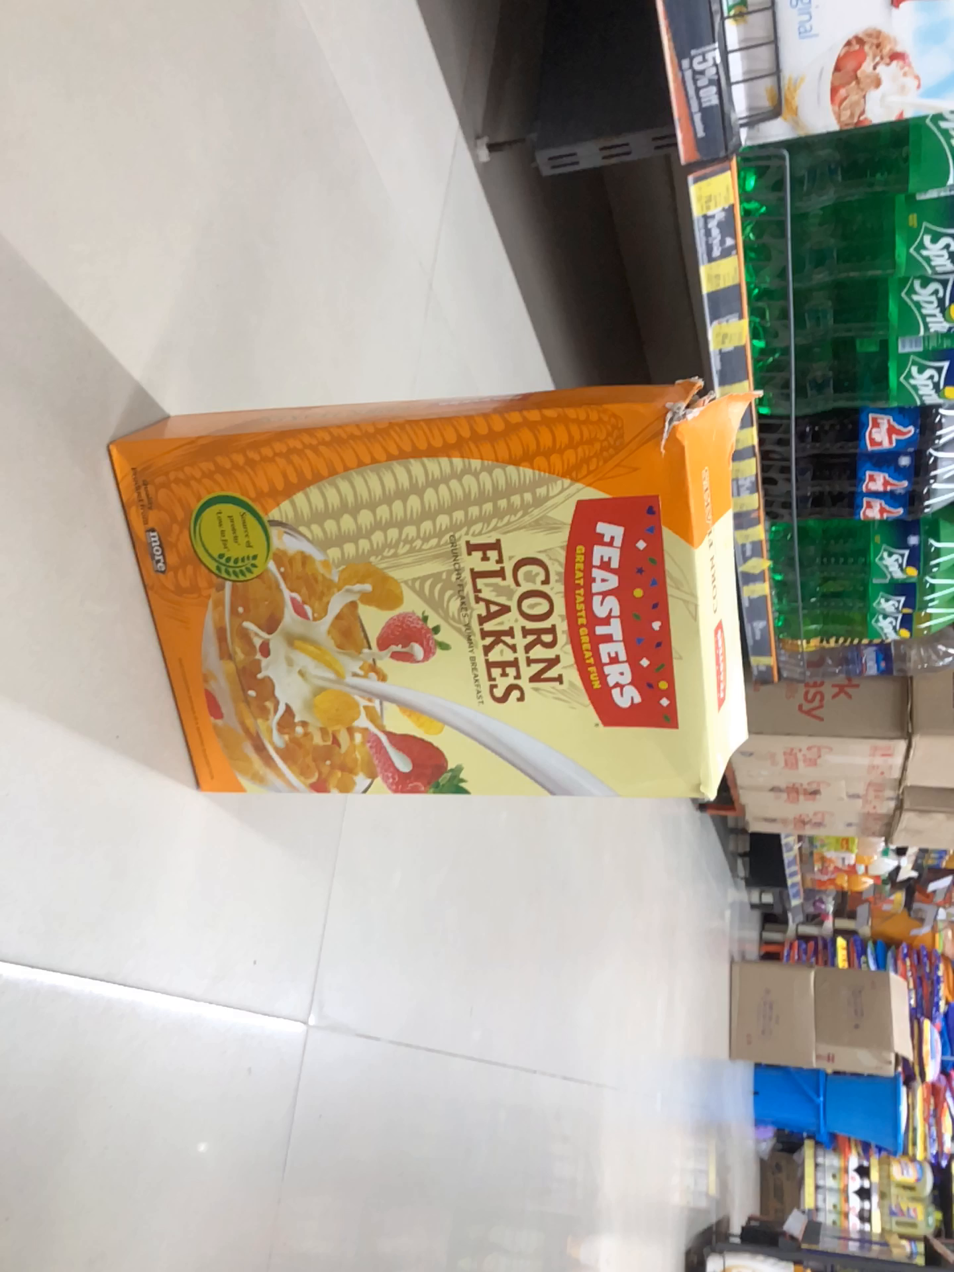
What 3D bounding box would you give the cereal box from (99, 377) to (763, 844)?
[{"bbox_3d":[-0.013,-0.003,0.481,0.060,0.269,0.190,-60,144,-65],"label":"cereal box"}]
